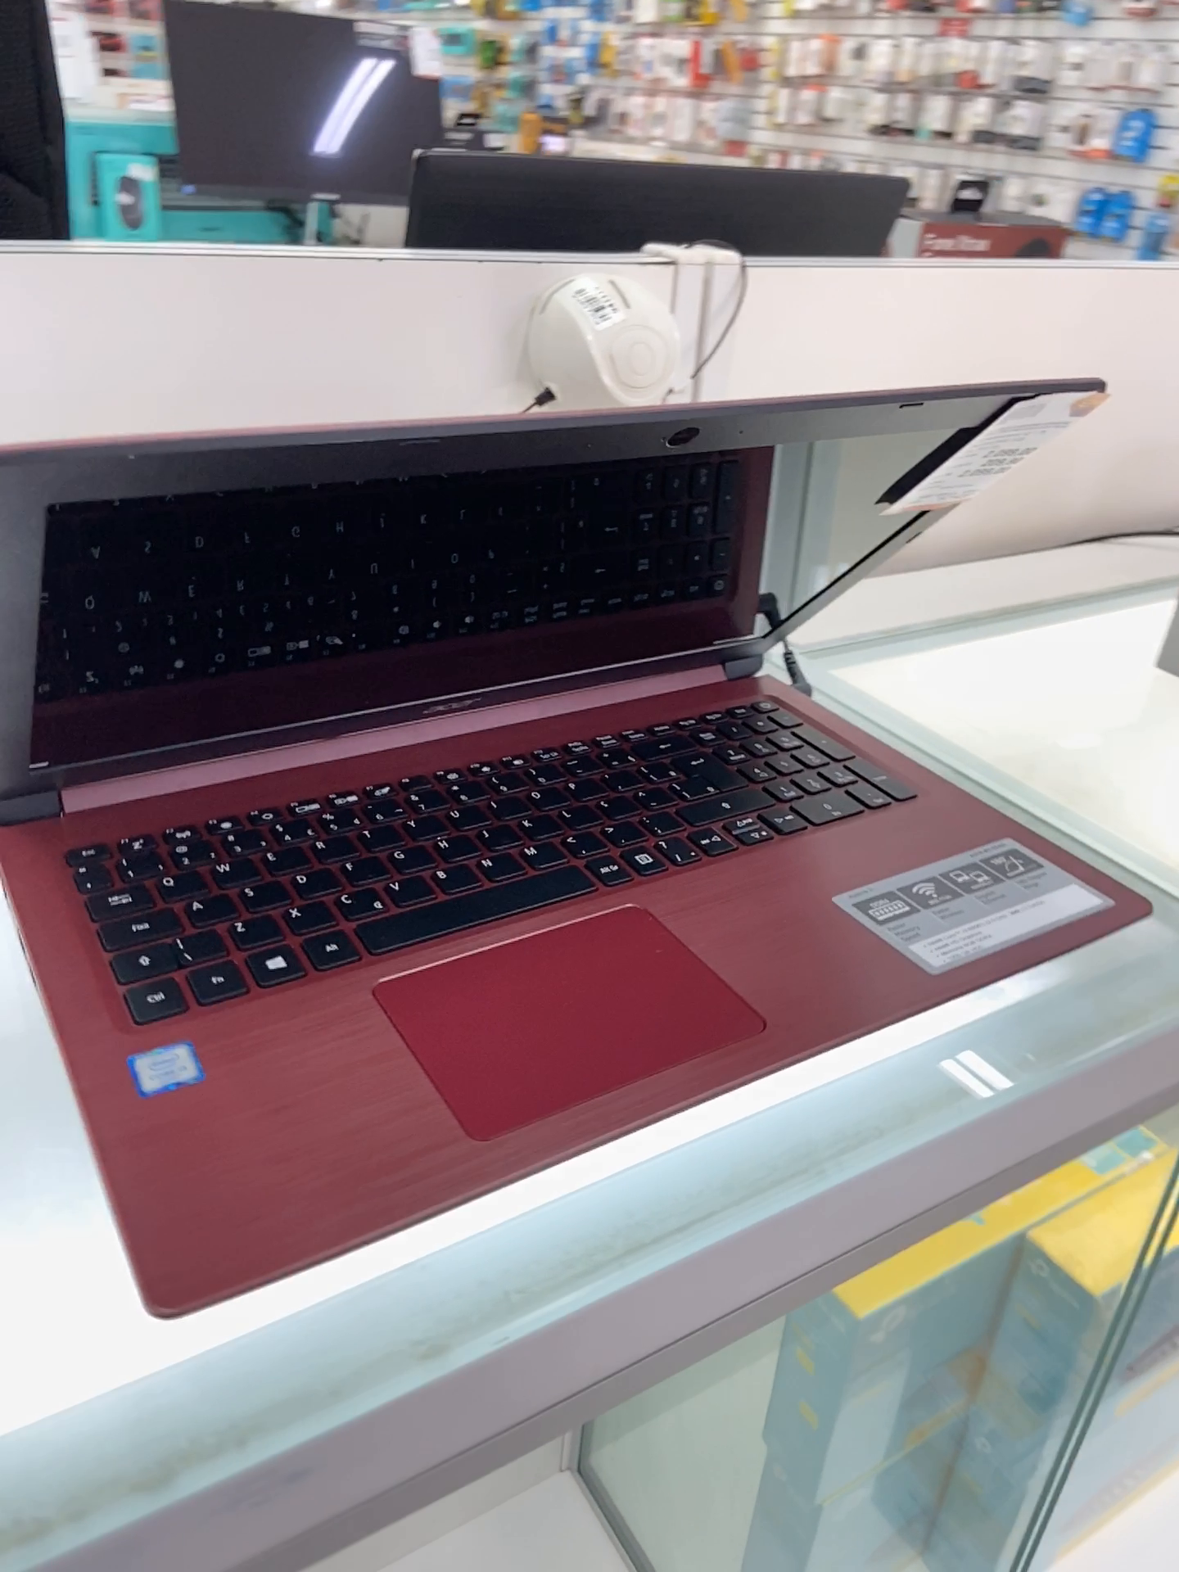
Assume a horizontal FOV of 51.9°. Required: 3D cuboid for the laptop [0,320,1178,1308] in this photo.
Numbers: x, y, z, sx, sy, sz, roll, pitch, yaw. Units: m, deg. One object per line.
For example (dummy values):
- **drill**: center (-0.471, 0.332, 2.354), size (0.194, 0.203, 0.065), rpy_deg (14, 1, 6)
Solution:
- **laptop**: center (0.000, -0.046, 0.417), size (0.368, 0.179, 0.239), rpy_deg (-13, 33, -30)
